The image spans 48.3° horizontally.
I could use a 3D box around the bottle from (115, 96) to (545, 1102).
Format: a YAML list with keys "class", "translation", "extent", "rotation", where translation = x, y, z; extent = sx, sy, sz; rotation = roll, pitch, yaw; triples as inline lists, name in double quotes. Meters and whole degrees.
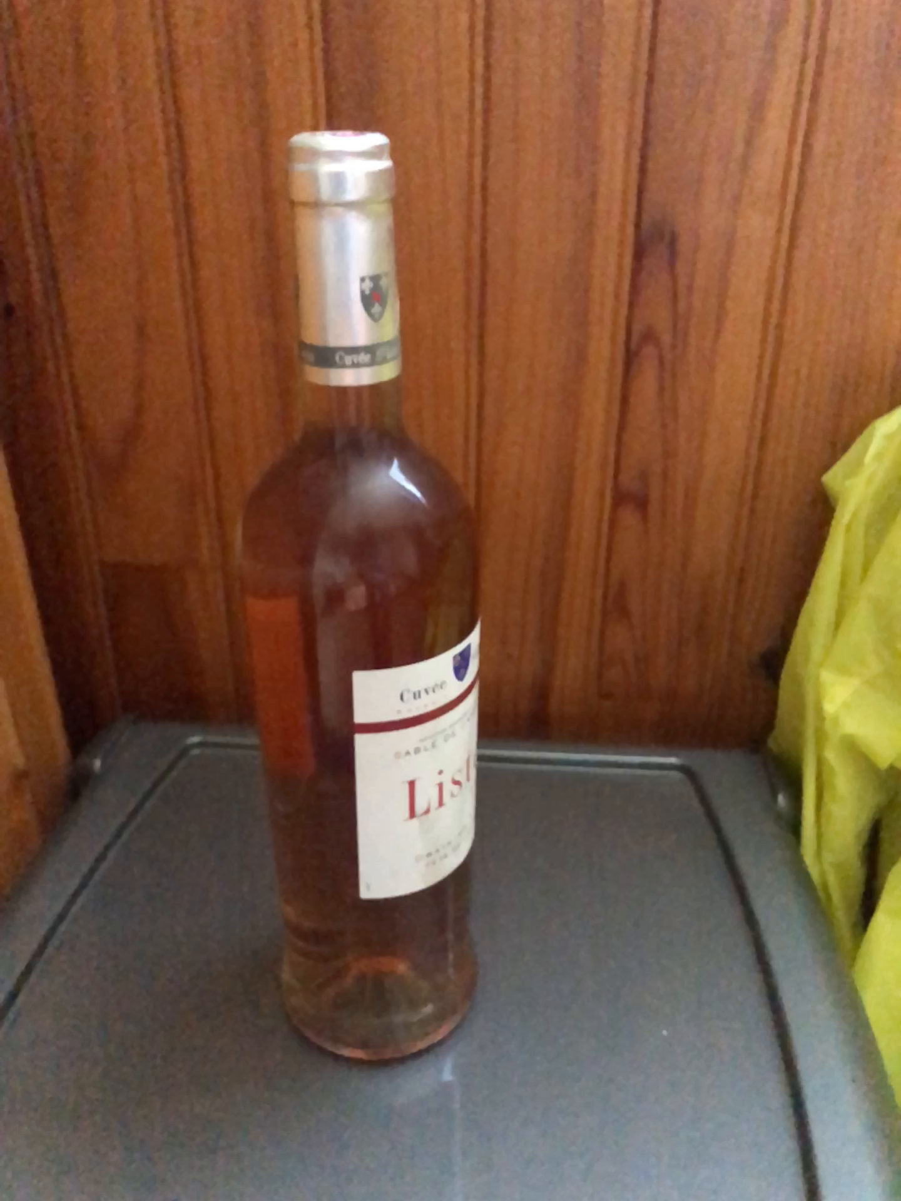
- class: "bottle"
  translation: [-0.029, 0.010, 0.334]
  extent: [0.080, 0.318, 0.080]
  rotation: [0, 26, 0]
